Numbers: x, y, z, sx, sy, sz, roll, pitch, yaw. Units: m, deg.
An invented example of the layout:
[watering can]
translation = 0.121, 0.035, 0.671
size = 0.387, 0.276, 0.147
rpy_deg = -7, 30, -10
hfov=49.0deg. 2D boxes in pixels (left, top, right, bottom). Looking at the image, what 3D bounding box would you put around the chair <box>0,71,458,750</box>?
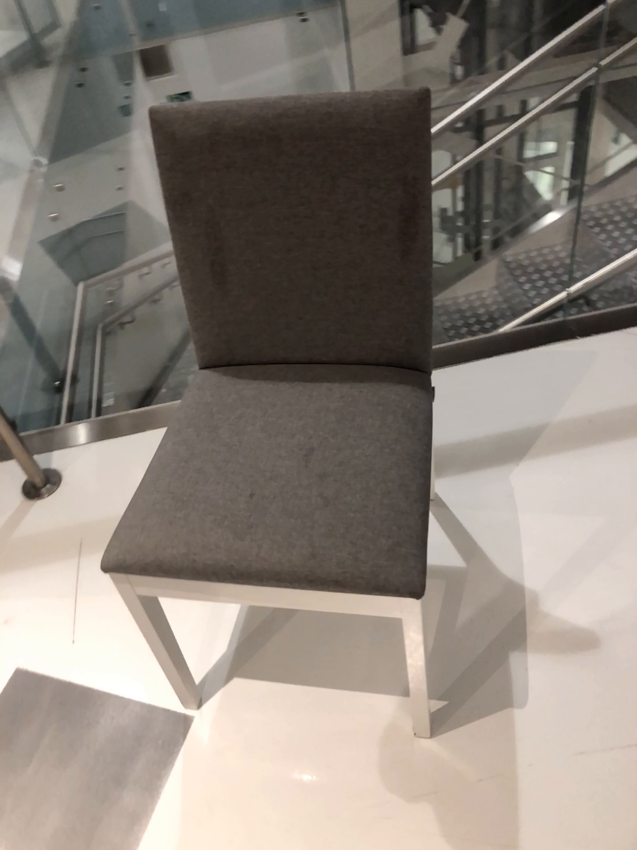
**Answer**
[chair]
translation = -0.048, 0.024, 1.081
size = 0.480, 0.843, 0.564
rpy_deg = 2, 47, 14
